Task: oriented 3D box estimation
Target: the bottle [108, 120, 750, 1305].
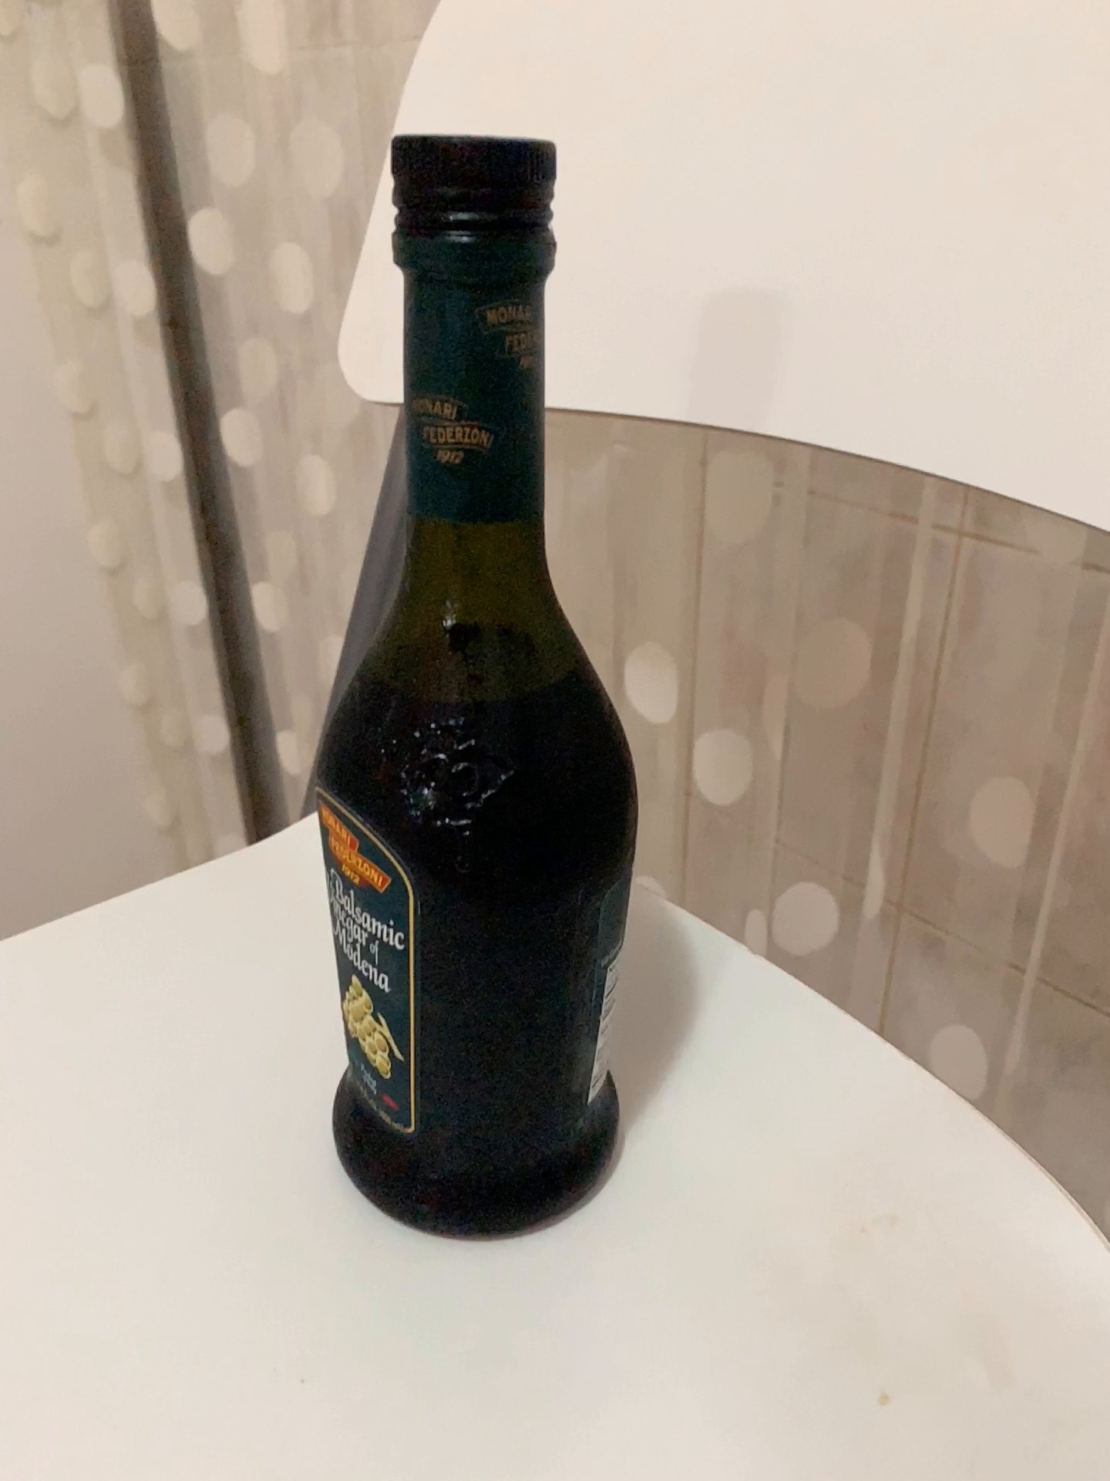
[{"bbox_3d":[-0.024,-0.004,0.264,0.080,0.243,0.090,-21,34,-32],"label":"bottle"}]
